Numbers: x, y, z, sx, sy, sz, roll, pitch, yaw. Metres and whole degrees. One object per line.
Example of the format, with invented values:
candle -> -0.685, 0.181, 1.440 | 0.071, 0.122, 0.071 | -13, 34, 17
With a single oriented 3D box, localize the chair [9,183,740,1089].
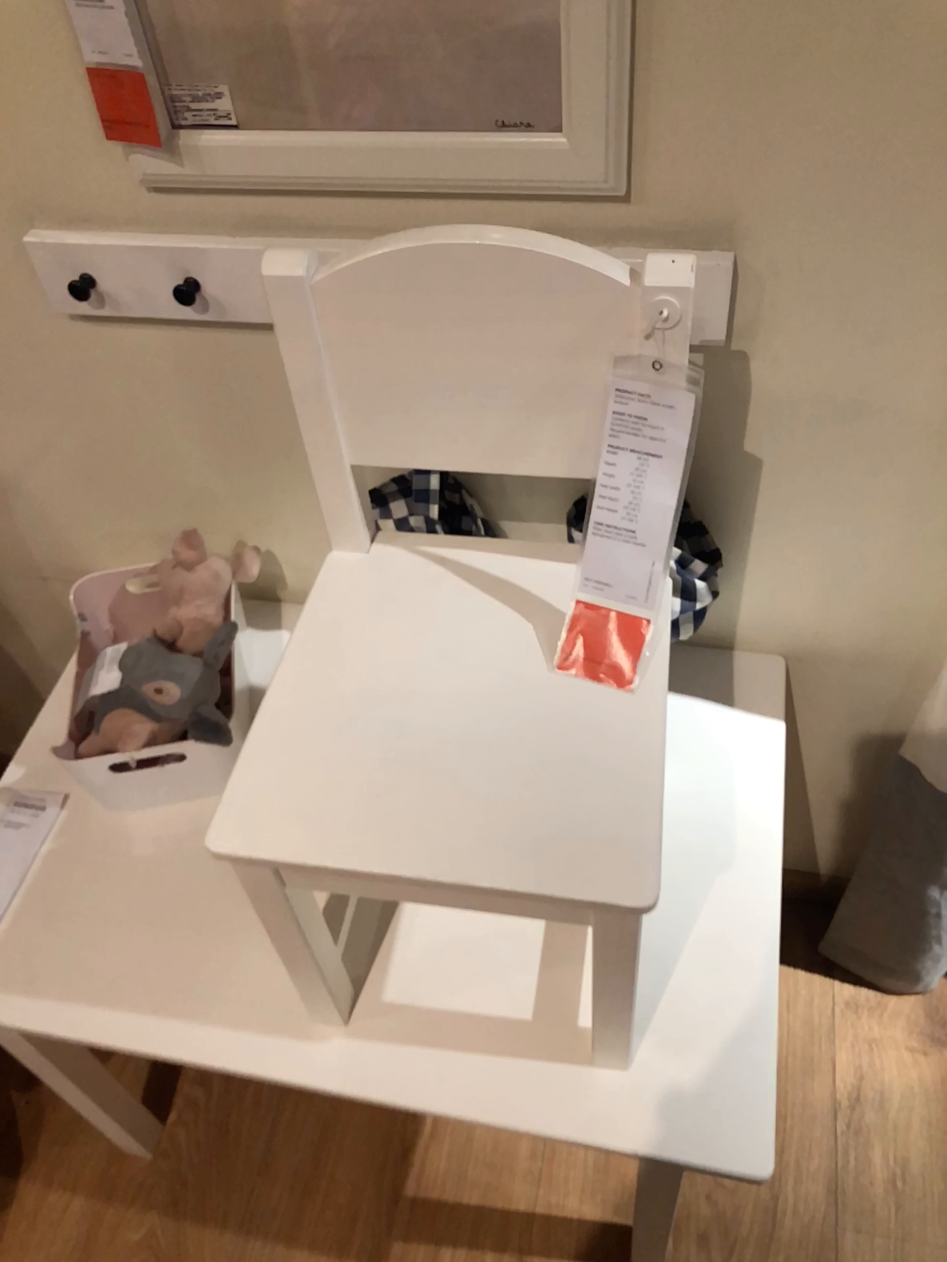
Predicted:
chair -> 0.002, 0.038, 0.730 | 0.300, 0.557, 0.322 | 4, 49, 10
